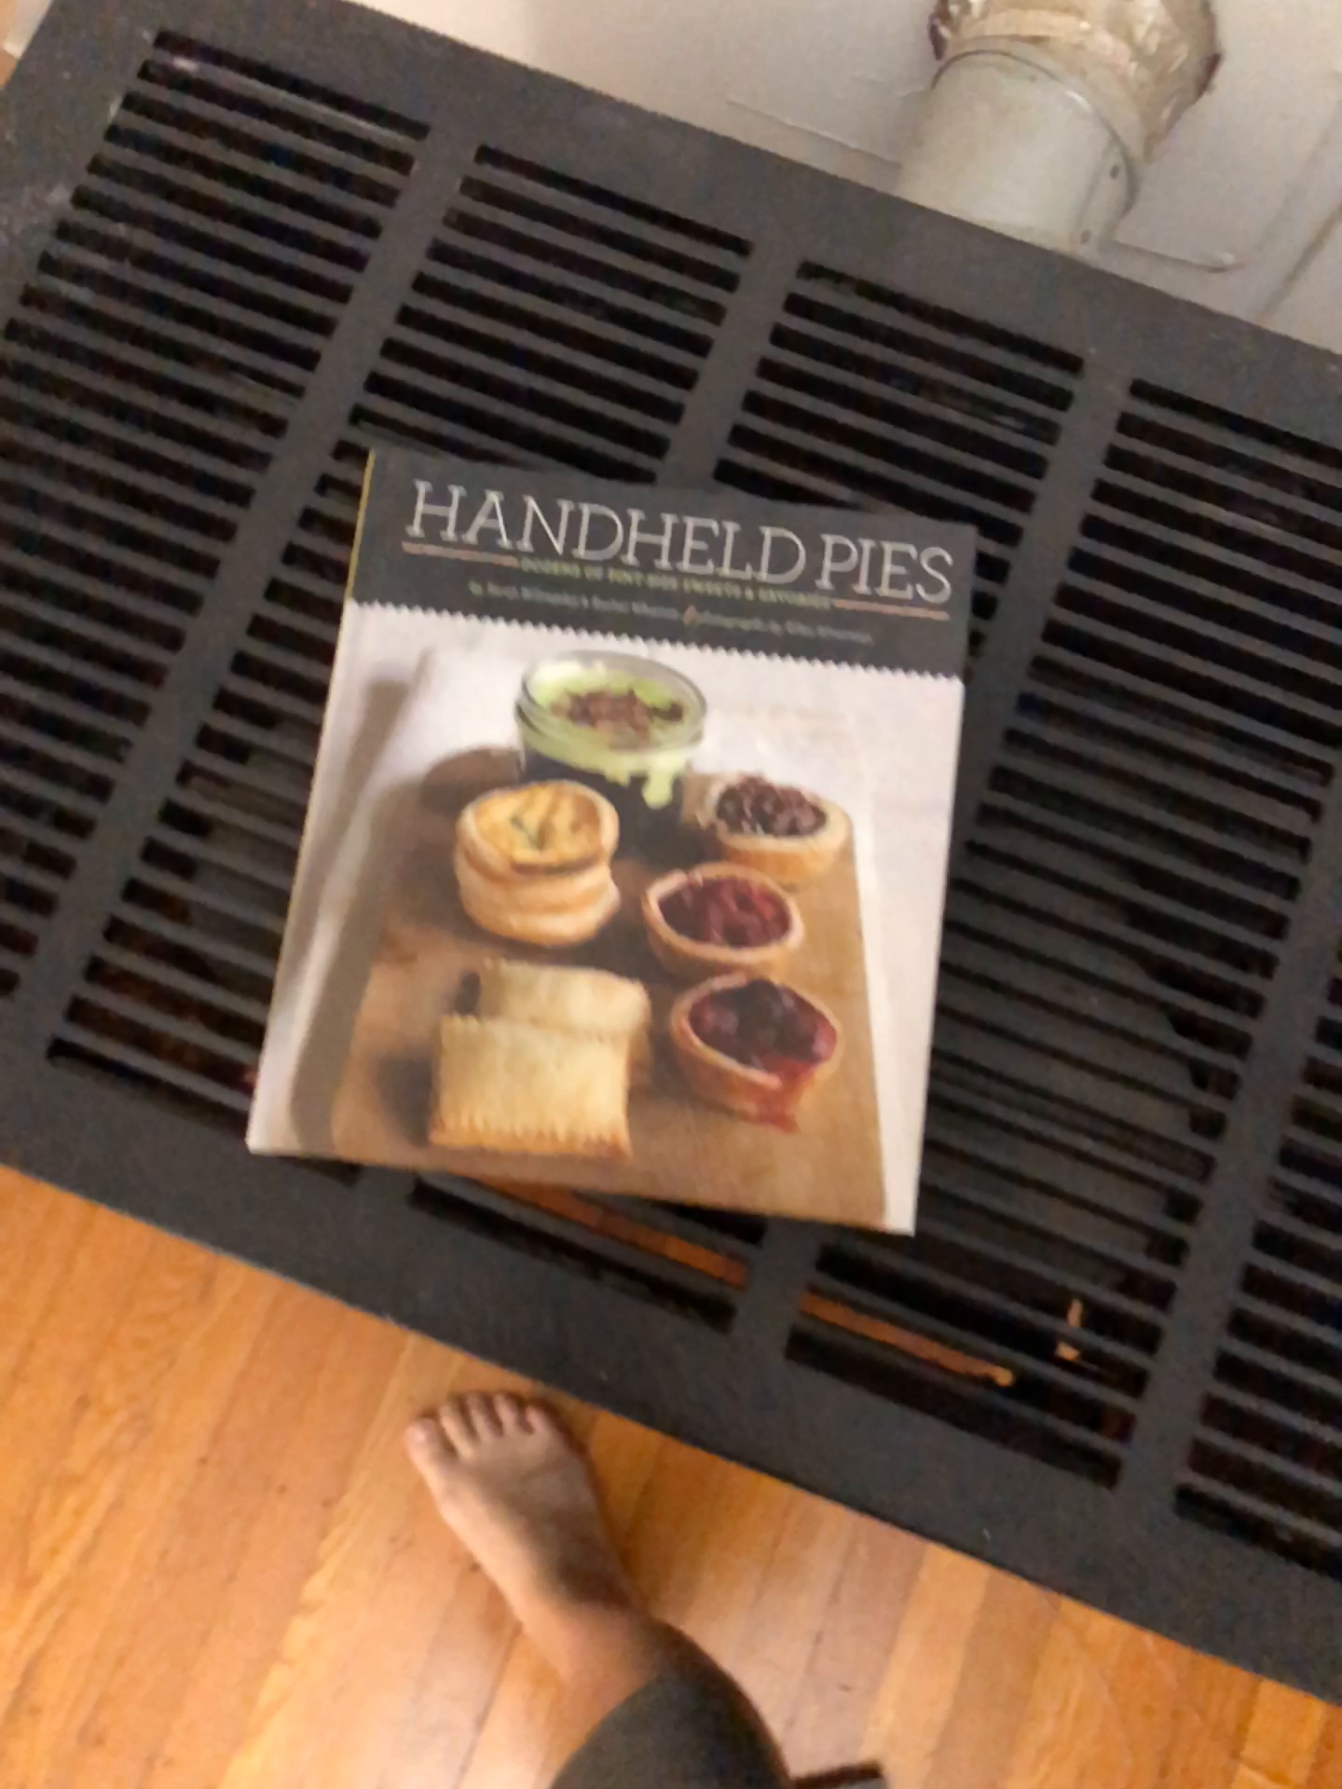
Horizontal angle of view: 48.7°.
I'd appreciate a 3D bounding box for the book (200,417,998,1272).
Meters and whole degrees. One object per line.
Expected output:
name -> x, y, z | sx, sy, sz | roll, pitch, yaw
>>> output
book -> -0.015, -0.020, 0.435 | 0.200, 0.020, 0.230 | 7, 78, 2
